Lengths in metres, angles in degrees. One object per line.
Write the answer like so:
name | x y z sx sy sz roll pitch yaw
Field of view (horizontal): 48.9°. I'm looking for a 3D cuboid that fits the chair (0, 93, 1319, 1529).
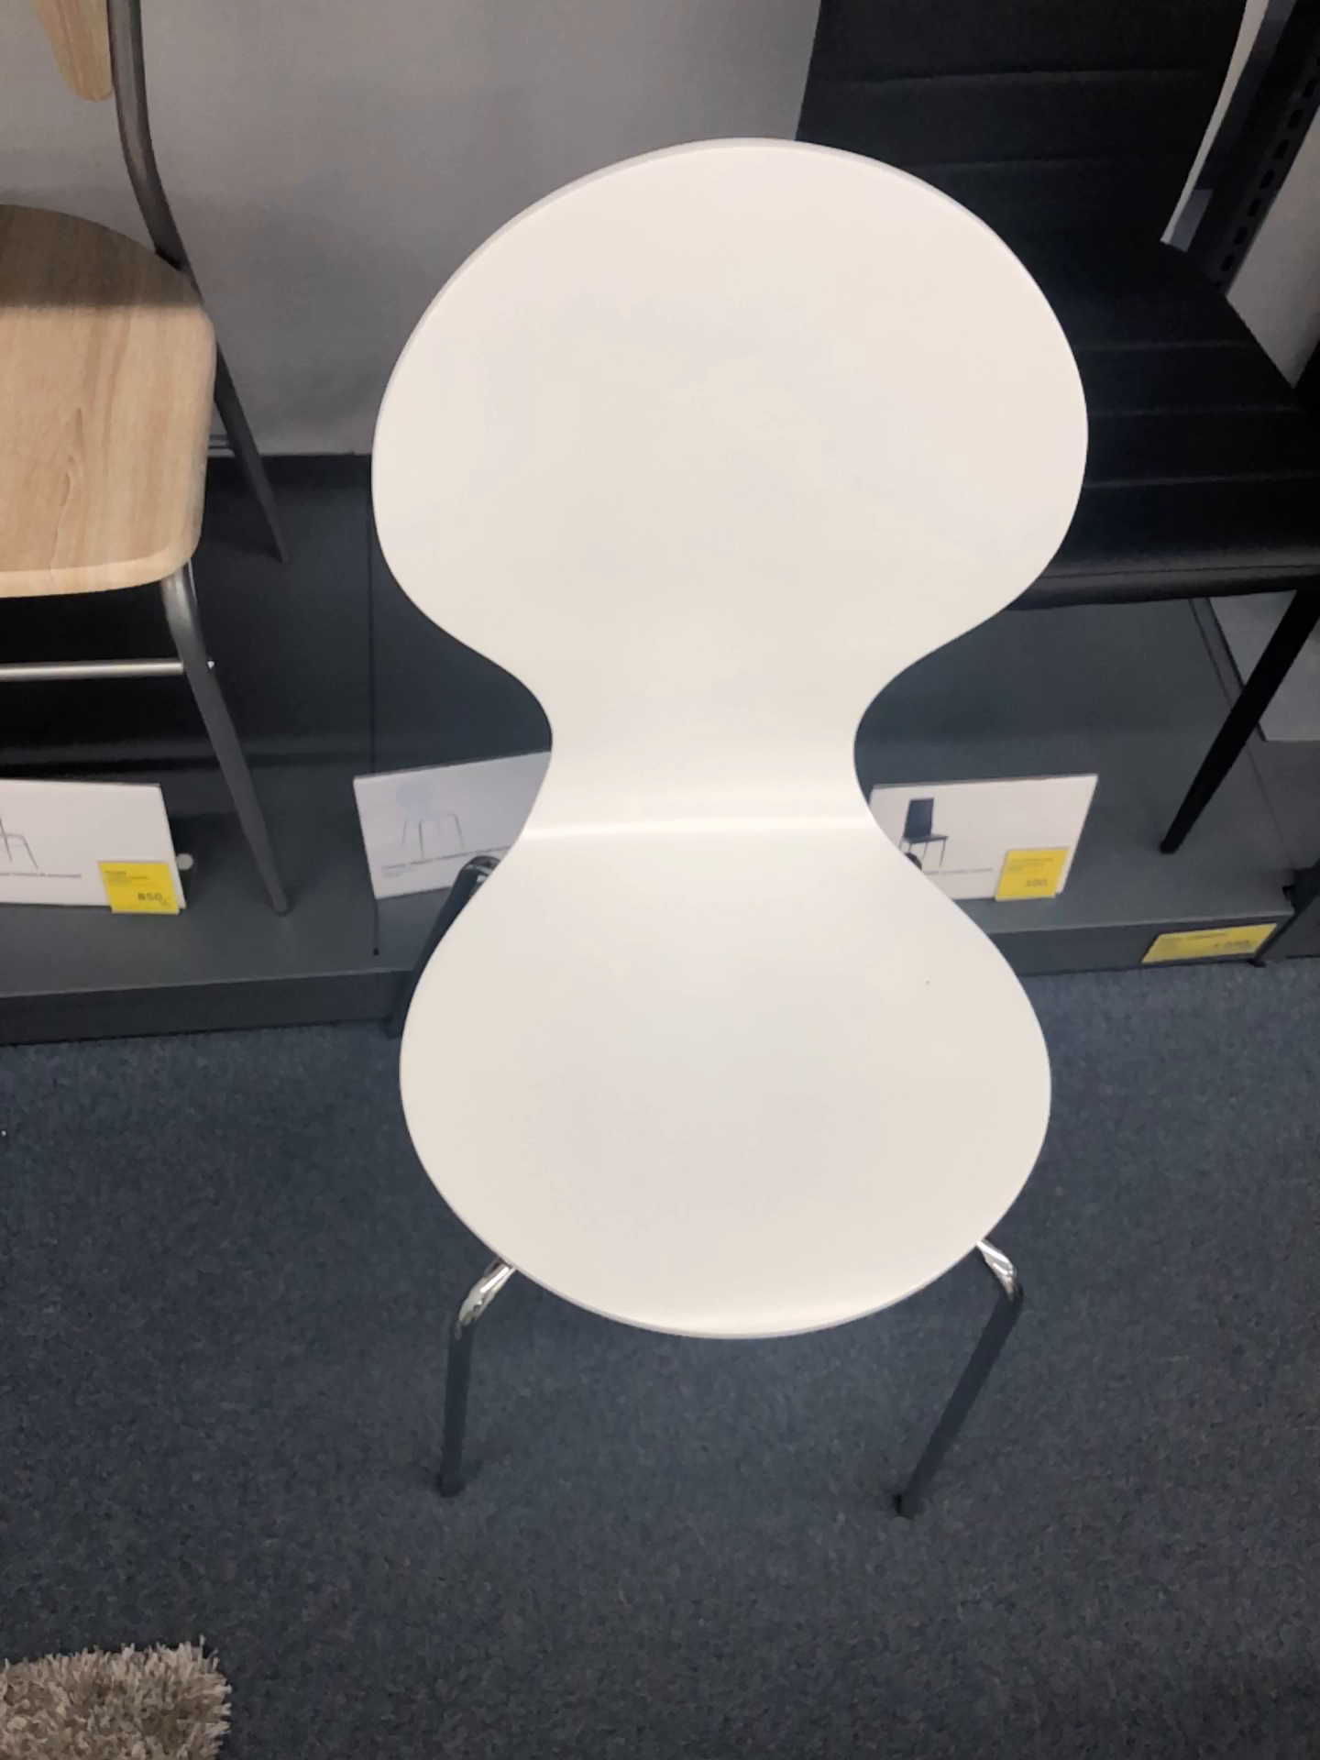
chair | 0.023 0.079 0.986 0.560 0.898 0.541 1 59 -5
